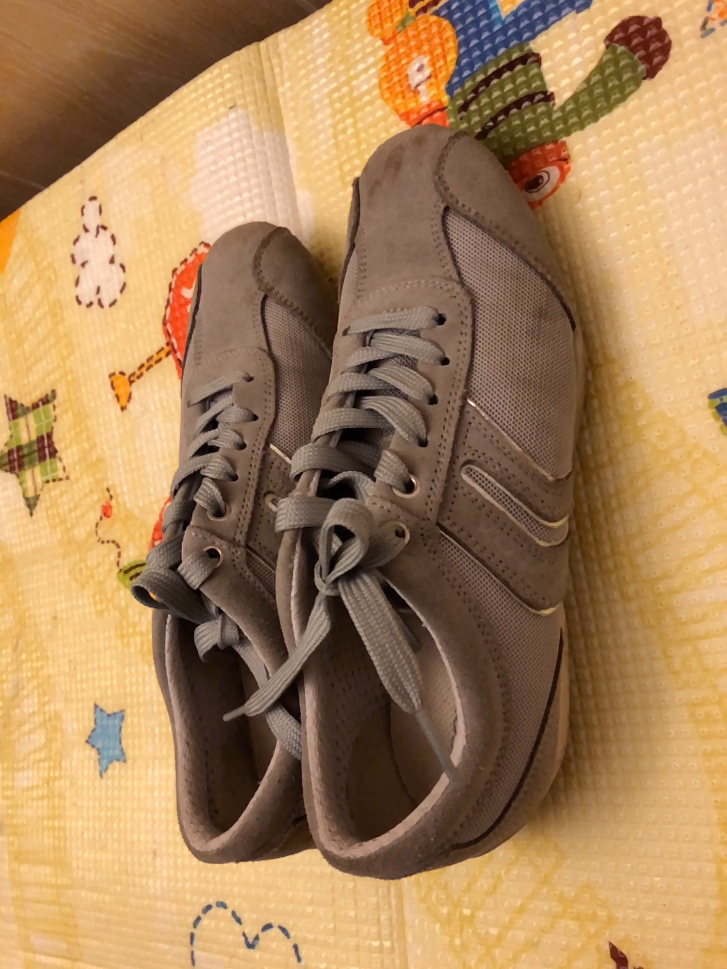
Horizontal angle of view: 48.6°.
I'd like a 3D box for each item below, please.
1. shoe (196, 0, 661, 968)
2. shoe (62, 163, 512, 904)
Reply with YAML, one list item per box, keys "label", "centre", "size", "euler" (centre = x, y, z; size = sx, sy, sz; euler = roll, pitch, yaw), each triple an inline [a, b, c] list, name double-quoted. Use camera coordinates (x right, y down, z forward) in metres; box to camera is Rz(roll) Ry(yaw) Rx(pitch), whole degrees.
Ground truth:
- label: "shoe"
  centre: [0.024, -0.004, 0.255]
  size: [0.090, 0.119, 0.230]
  euler: [-5, 84, 38]
- label: "shoe"
  centre: [-0.031, 0.018, 0.319]
  size: [0.090, 0.119, 0.230]
  euler: [-17, 77, 36]
